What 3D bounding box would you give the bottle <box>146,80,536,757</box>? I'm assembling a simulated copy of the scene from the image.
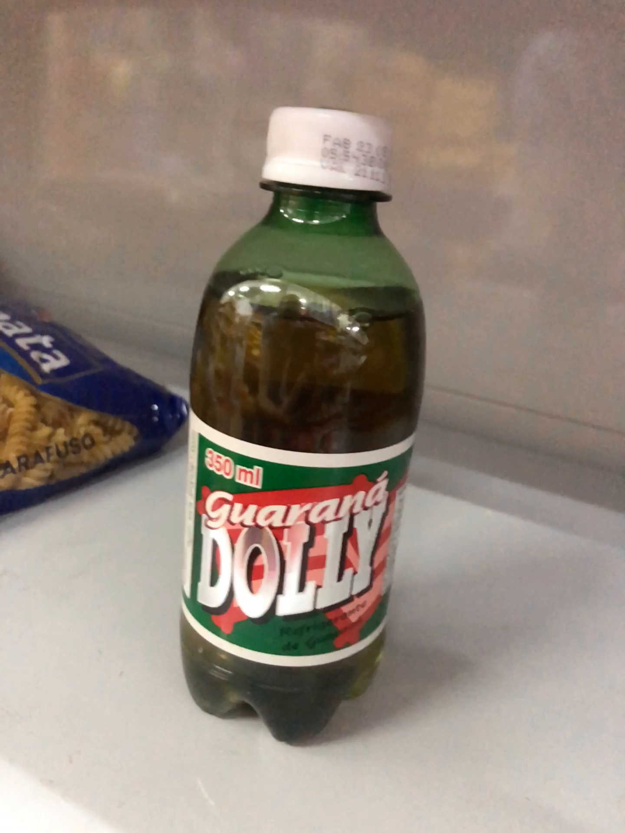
[{"bbox_3d":[-0.002,0.004,0.209,0.080,0.179,0.070,3,22,-5],"label":"bottle"}]
